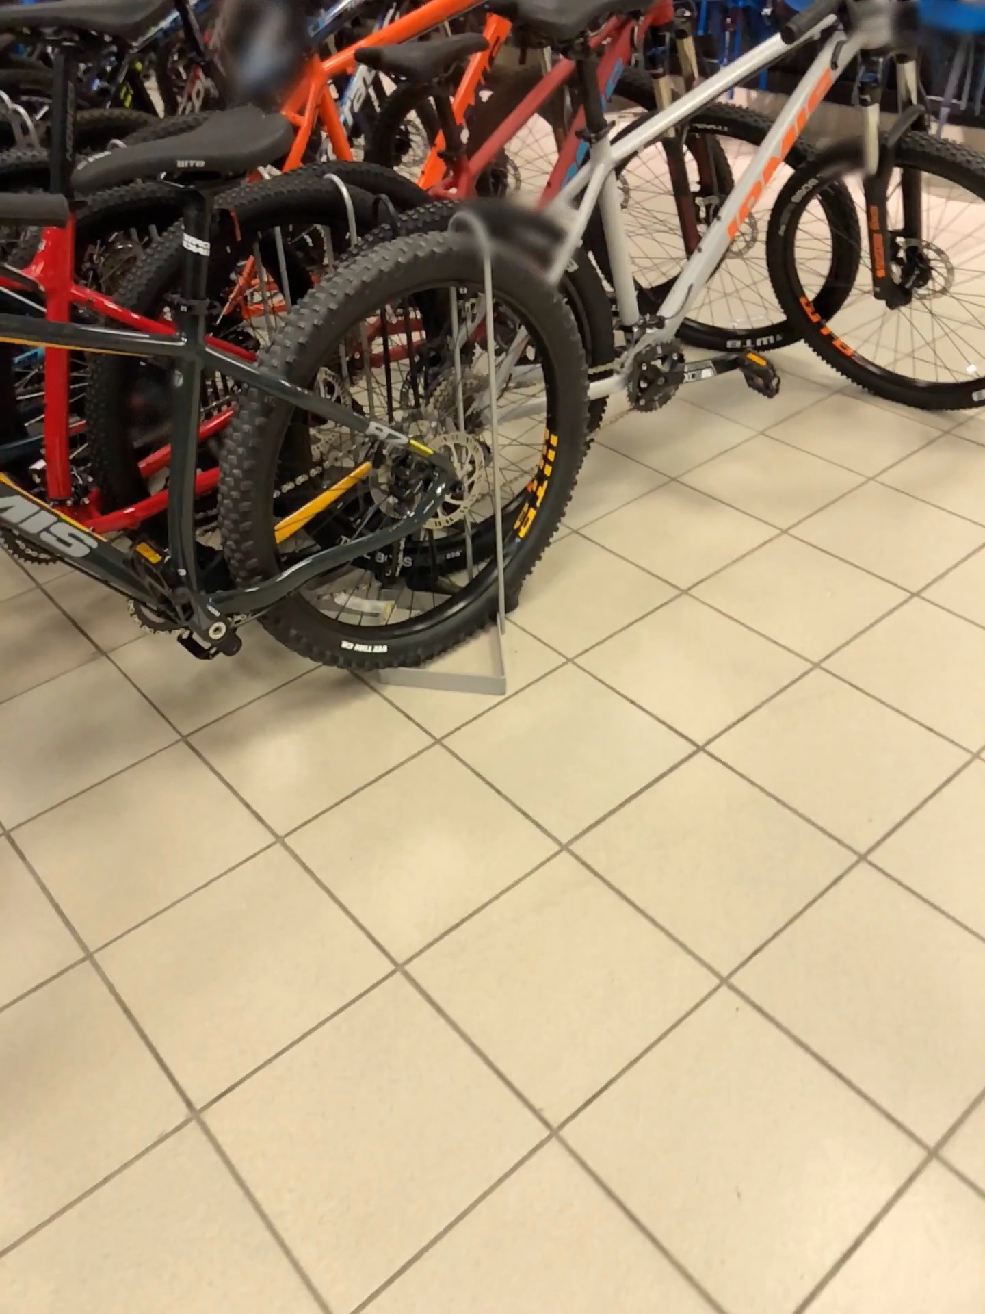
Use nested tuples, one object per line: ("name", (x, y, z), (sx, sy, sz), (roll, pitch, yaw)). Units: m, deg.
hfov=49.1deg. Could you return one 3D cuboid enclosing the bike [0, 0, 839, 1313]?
("bike", (-0.335, -0.173, 1.307), (0.809, 1.165, 1.548), (25, 48, 30))
